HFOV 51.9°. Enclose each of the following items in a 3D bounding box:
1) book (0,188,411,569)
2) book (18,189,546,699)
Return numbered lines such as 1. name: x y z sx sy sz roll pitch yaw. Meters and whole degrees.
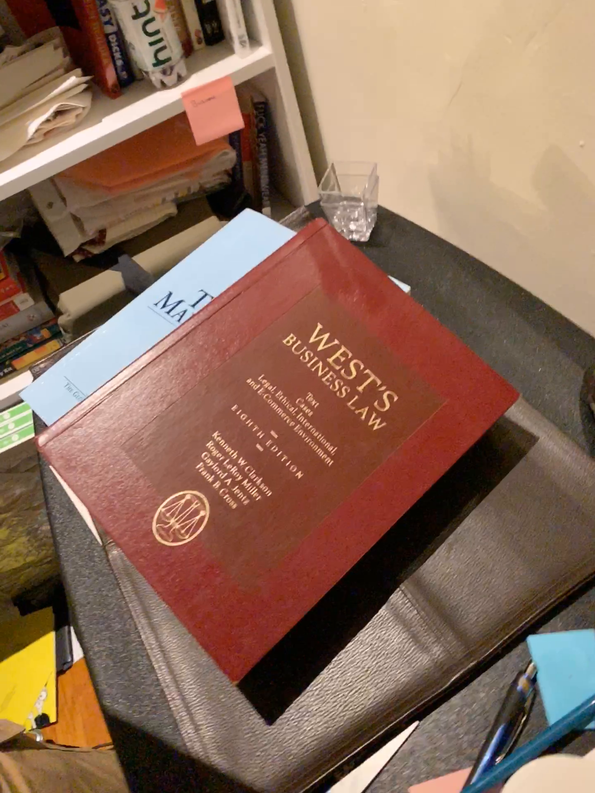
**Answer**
1. book: -0.082 -0.038 0.513 0.270 0.070 0.221 -42 54 -15
2. book: -0.005 0.015 0.418 0.270 0.050 0.210 -42 78 -16
